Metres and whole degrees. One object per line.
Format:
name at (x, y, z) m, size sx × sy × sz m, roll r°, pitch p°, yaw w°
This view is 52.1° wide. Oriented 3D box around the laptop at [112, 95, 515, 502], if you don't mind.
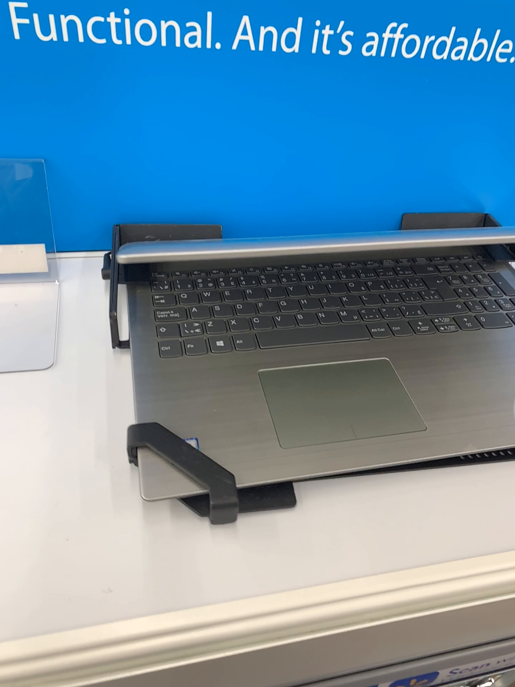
laptop at (0.082, -0.056, 0.342) m, size 0.326 × 0.115 × 0.230 m, roll -5°, pitch 44°, yaw -14°
